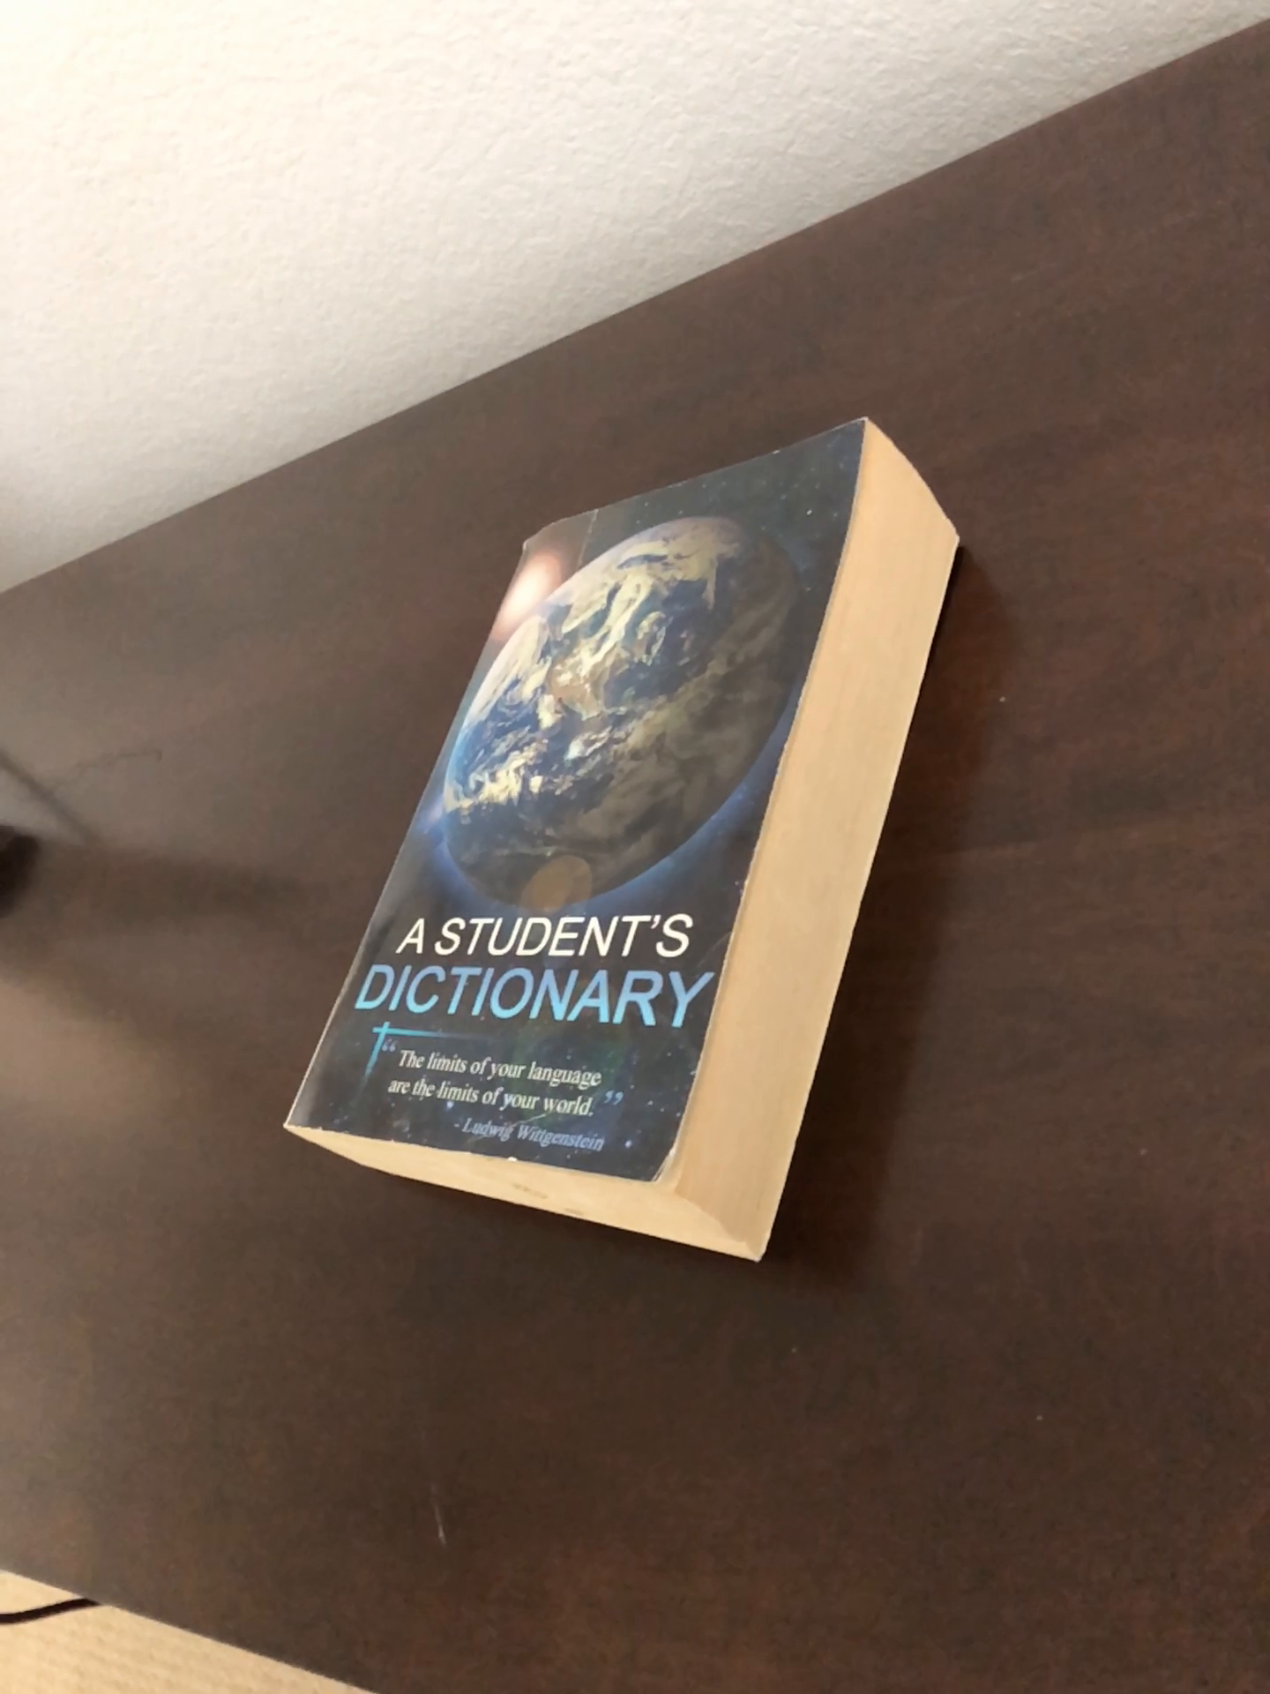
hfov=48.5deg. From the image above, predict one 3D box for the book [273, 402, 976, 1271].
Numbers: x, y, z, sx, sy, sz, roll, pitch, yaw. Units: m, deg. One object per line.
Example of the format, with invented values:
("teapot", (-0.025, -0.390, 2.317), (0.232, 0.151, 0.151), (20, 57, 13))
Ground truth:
("book", (-0.003, -0.006, 0.368), (0.141, 0.040, 0.202), (-6, 57, 46))
